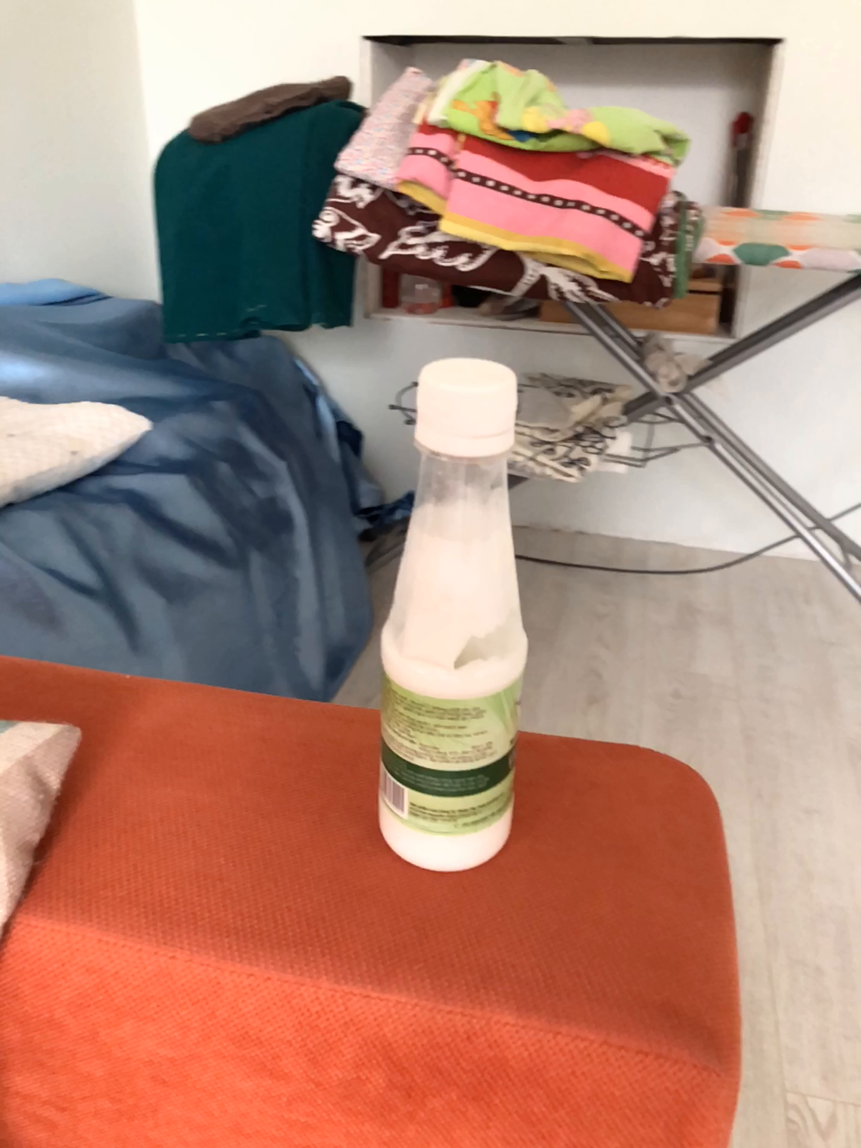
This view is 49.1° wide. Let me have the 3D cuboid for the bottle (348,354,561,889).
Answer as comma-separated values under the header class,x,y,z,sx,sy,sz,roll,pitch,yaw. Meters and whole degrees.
class,x,y,z,sx,sy,sz,roll,pitch,yaw
bottle,0.007,0.020,0.332,0.060,0.179,0.060,1,26,0
